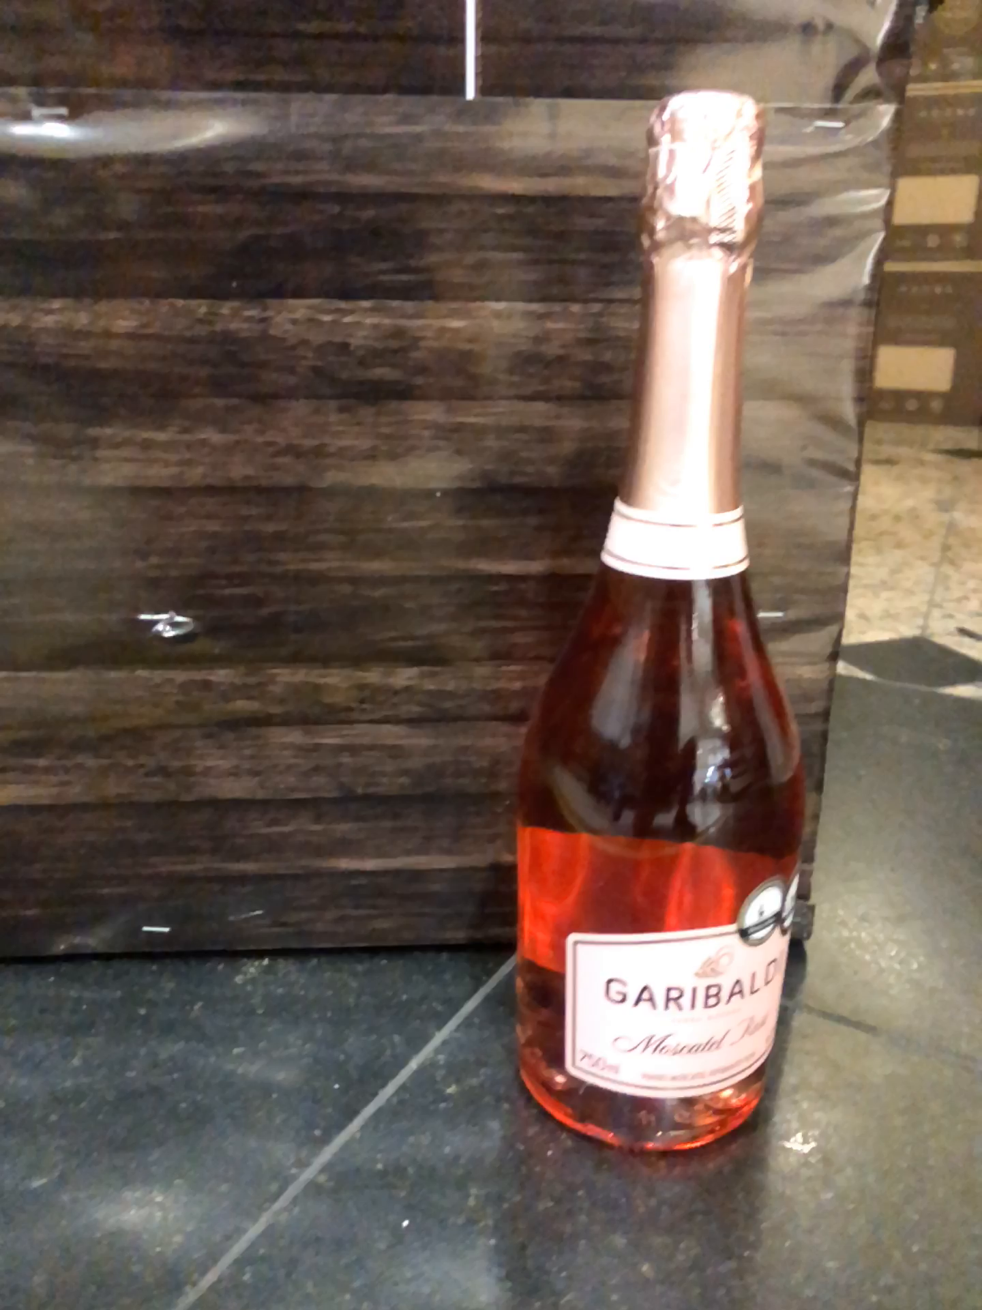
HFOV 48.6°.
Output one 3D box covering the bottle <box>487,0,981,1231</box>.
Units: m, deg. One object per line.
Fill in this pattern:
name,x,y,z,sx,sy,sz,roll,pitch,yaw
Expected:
bottle,0.065,-0.004,0.340,0.110,0.338,0.101,1,18,0
